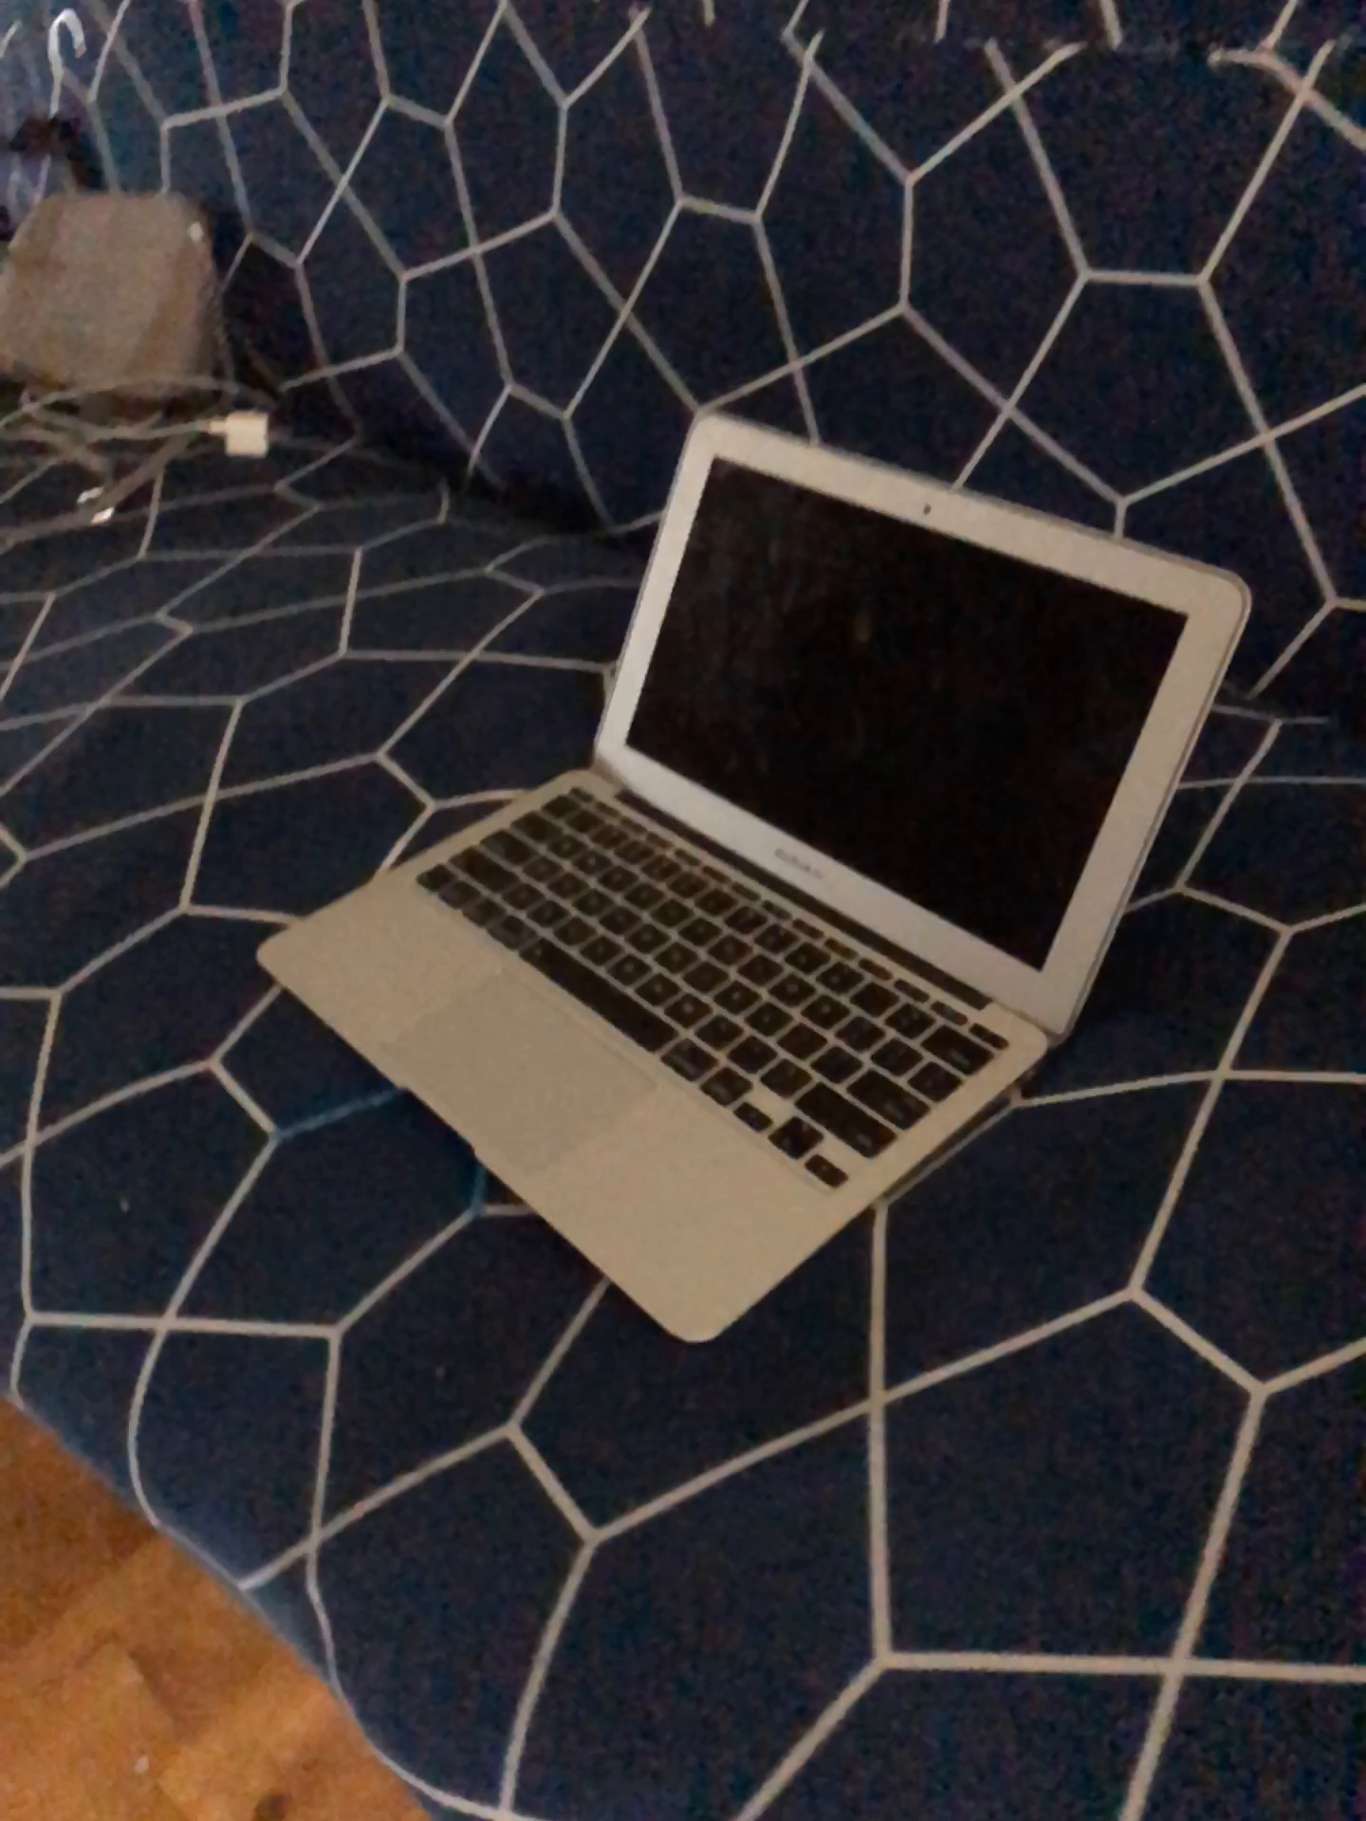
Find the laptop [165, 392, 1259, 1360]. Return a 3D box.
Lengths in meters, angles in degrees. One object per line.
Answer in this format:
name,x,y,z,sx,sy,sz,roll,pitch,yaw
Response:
laptop,0.008,-0.049,0.578,0.280,0.156,0.282,-32,46,-29
